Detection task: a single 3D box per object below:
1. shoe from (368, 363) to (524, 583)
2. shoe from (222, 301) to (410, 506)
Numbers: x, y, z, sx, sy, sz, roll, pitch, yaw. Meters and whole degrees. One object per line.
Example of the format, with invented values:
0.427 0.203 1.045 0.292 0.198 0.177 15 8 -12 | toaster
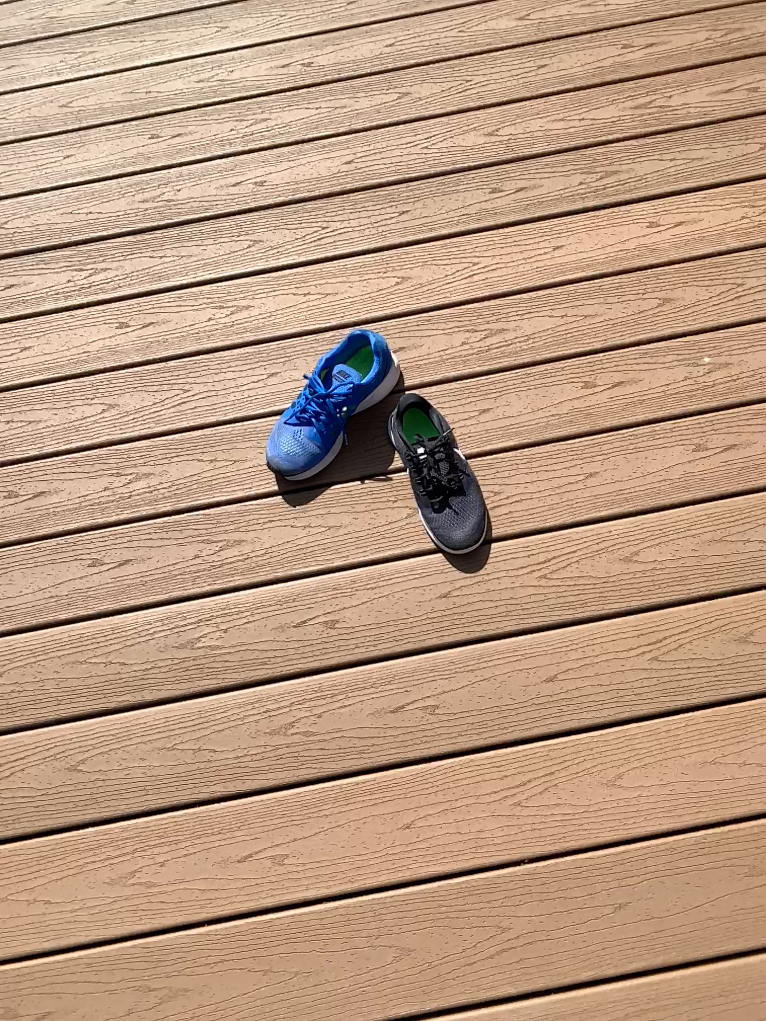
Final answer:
0.090 -0.058 1.174 0.120 0.110 0.290 -21 67 -4 | shoe
-0.098 -0.172 1.252 0.120 0.130 0.290 37 75 18 | shoe
